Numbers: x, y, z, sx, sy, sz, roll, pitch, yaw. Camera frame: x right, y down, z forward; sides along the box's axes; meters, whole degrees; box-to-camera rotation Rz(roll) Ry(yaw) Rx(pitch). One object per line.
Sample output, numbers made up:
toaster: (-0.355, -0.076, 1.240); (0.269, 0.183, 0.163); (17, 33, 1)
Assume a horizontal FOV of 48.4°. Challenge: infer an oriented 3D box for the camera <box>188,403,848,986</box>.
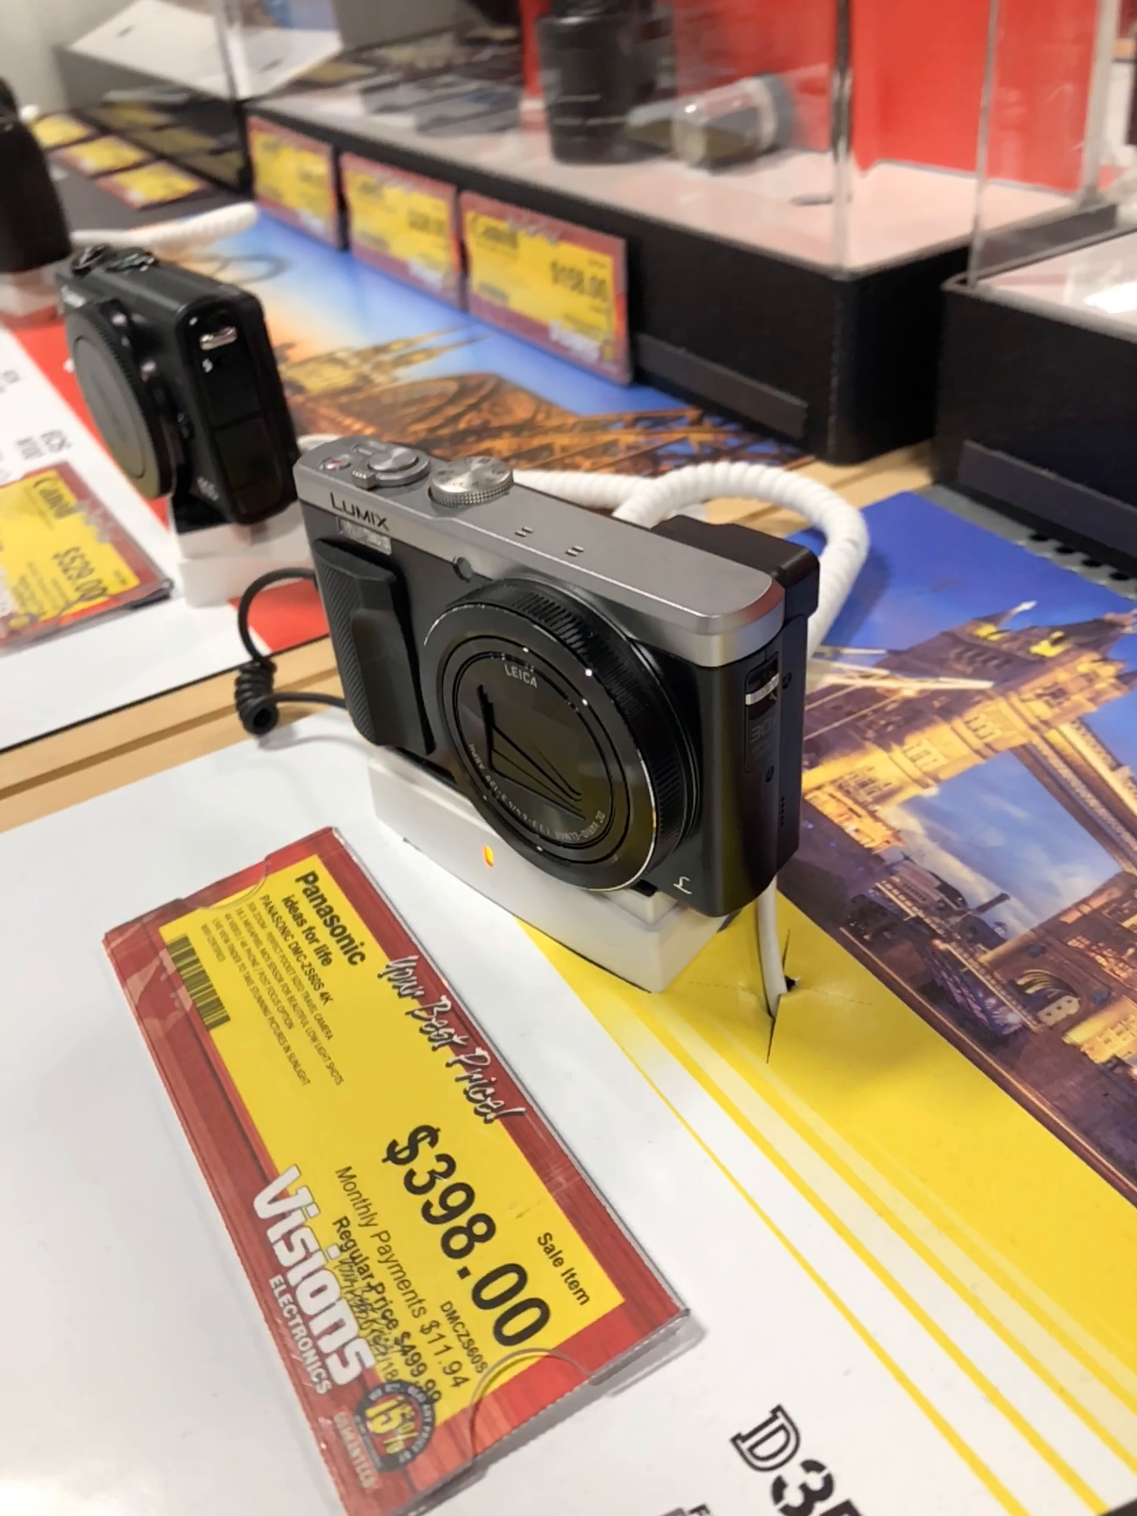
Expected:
camera: (-0.012, -0.019, 0.231); (0.121, 0.060, 0.040); (26, 47, 37)
